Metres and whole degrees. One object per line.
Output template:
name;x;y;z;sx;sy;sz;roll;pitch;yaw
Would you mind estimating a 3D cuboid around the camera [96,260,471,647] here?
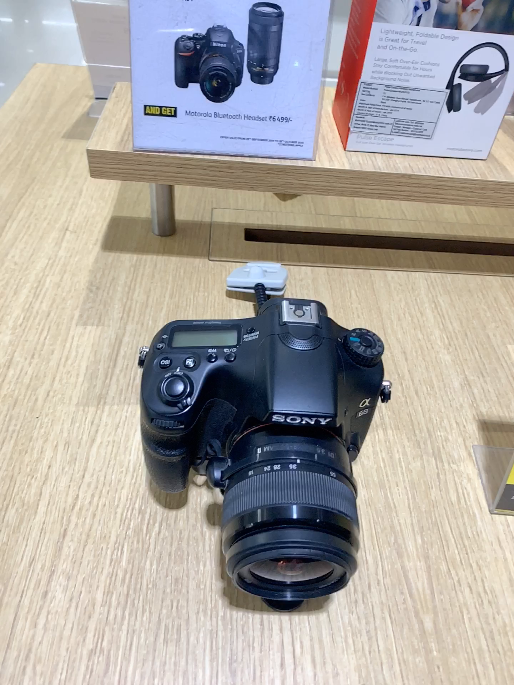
camera;0.004;0.043;0.270;0.130;0.070;0.181;2;45;-5
